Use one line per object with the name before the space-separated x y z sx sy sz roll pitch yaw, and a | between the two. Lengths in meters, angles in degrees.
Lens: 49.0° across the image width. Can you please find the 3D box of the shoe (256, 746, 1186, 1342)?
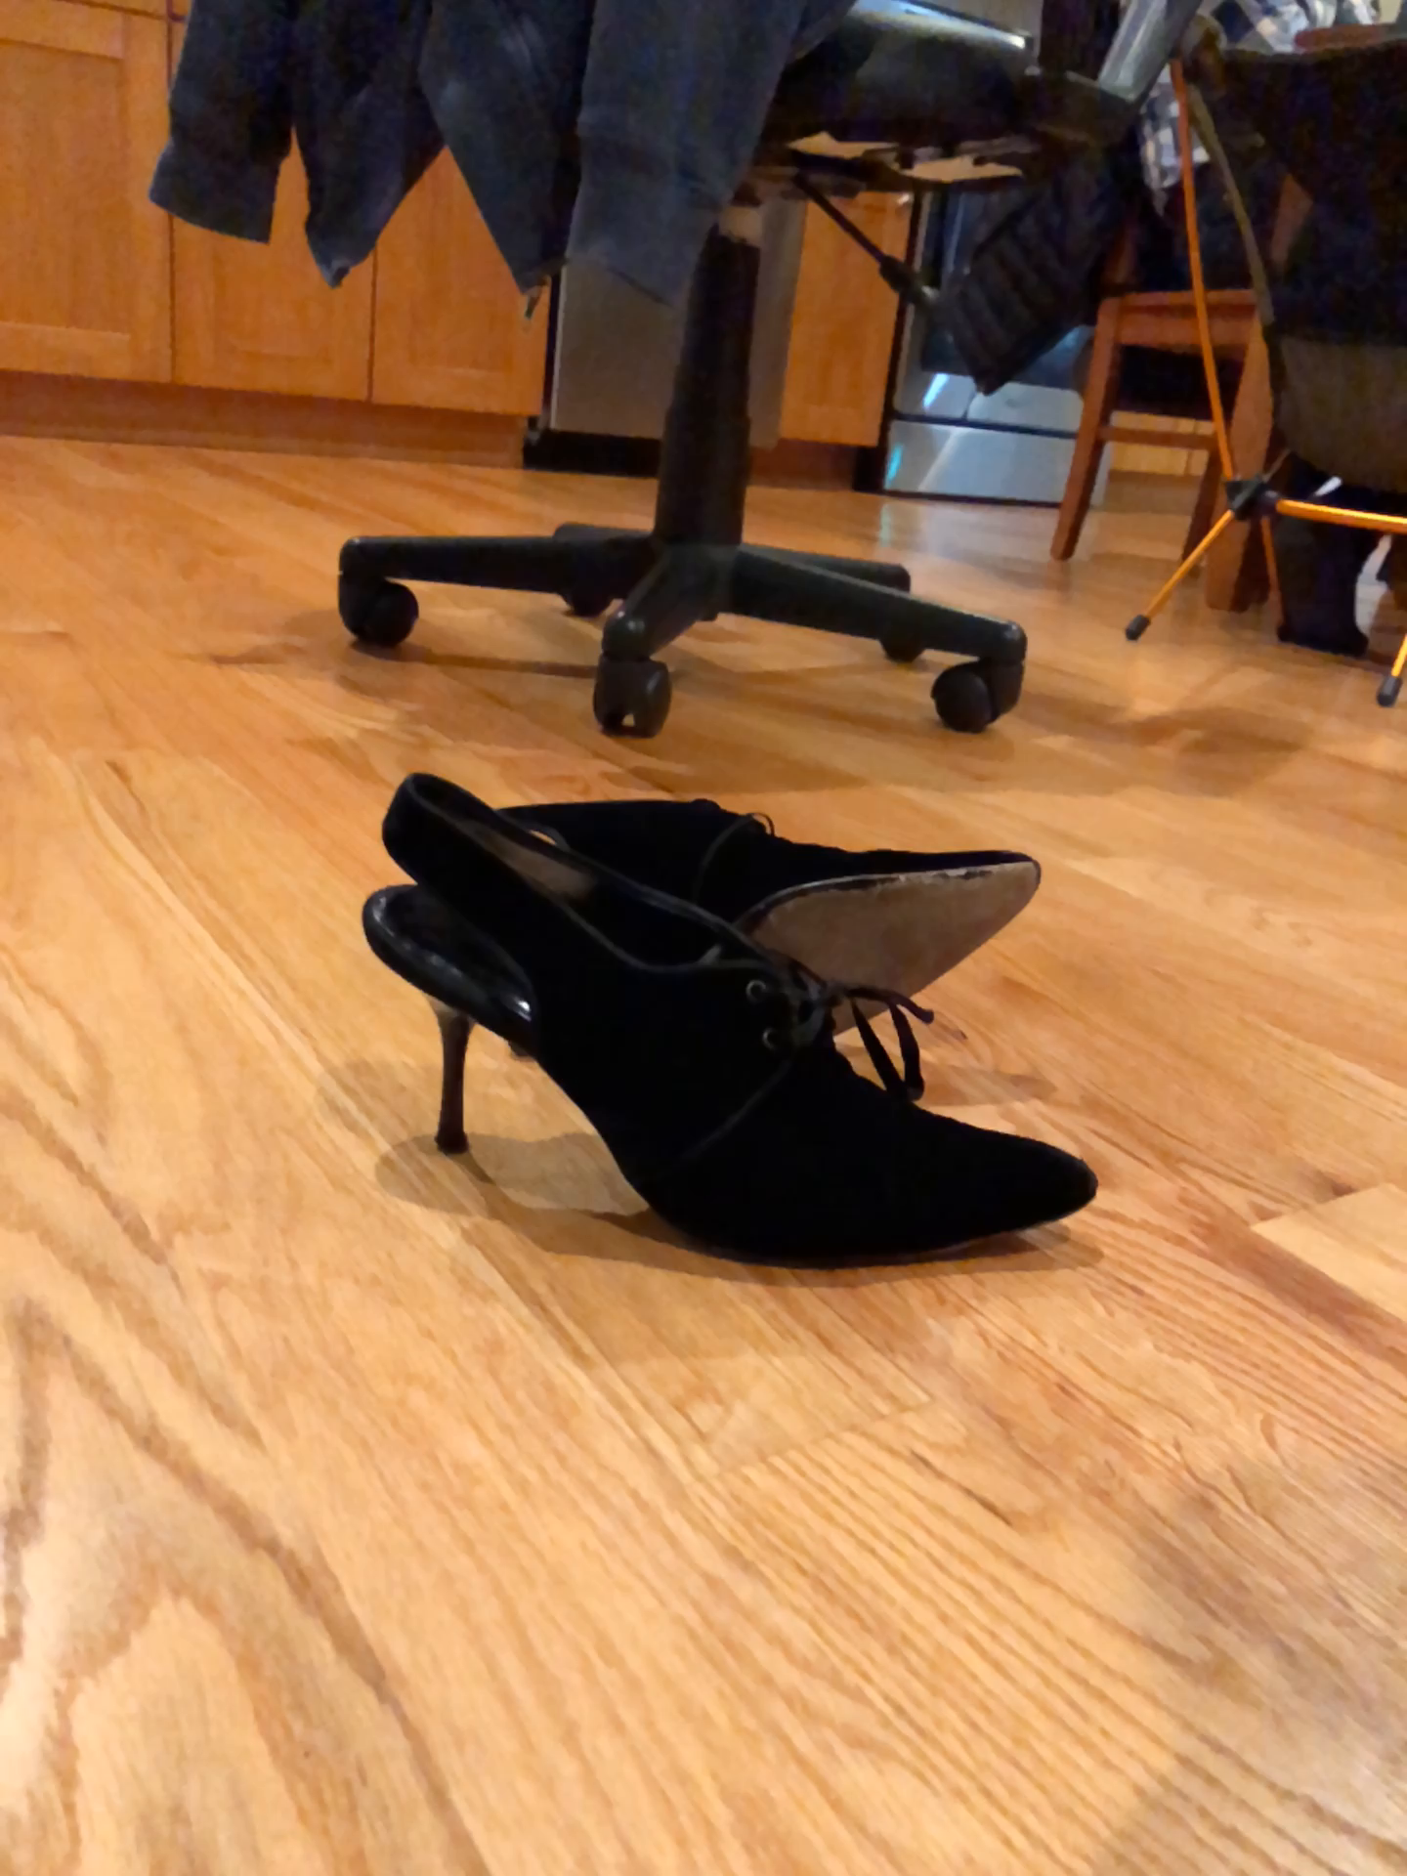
shoe | 0.003 0.025 0.486 0.252 0.117 0.108 9 19 5

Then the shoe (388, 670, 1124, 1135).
shoe | 0.022 -0.022 0.596 0.252 0.107 0.118 10 21 10
